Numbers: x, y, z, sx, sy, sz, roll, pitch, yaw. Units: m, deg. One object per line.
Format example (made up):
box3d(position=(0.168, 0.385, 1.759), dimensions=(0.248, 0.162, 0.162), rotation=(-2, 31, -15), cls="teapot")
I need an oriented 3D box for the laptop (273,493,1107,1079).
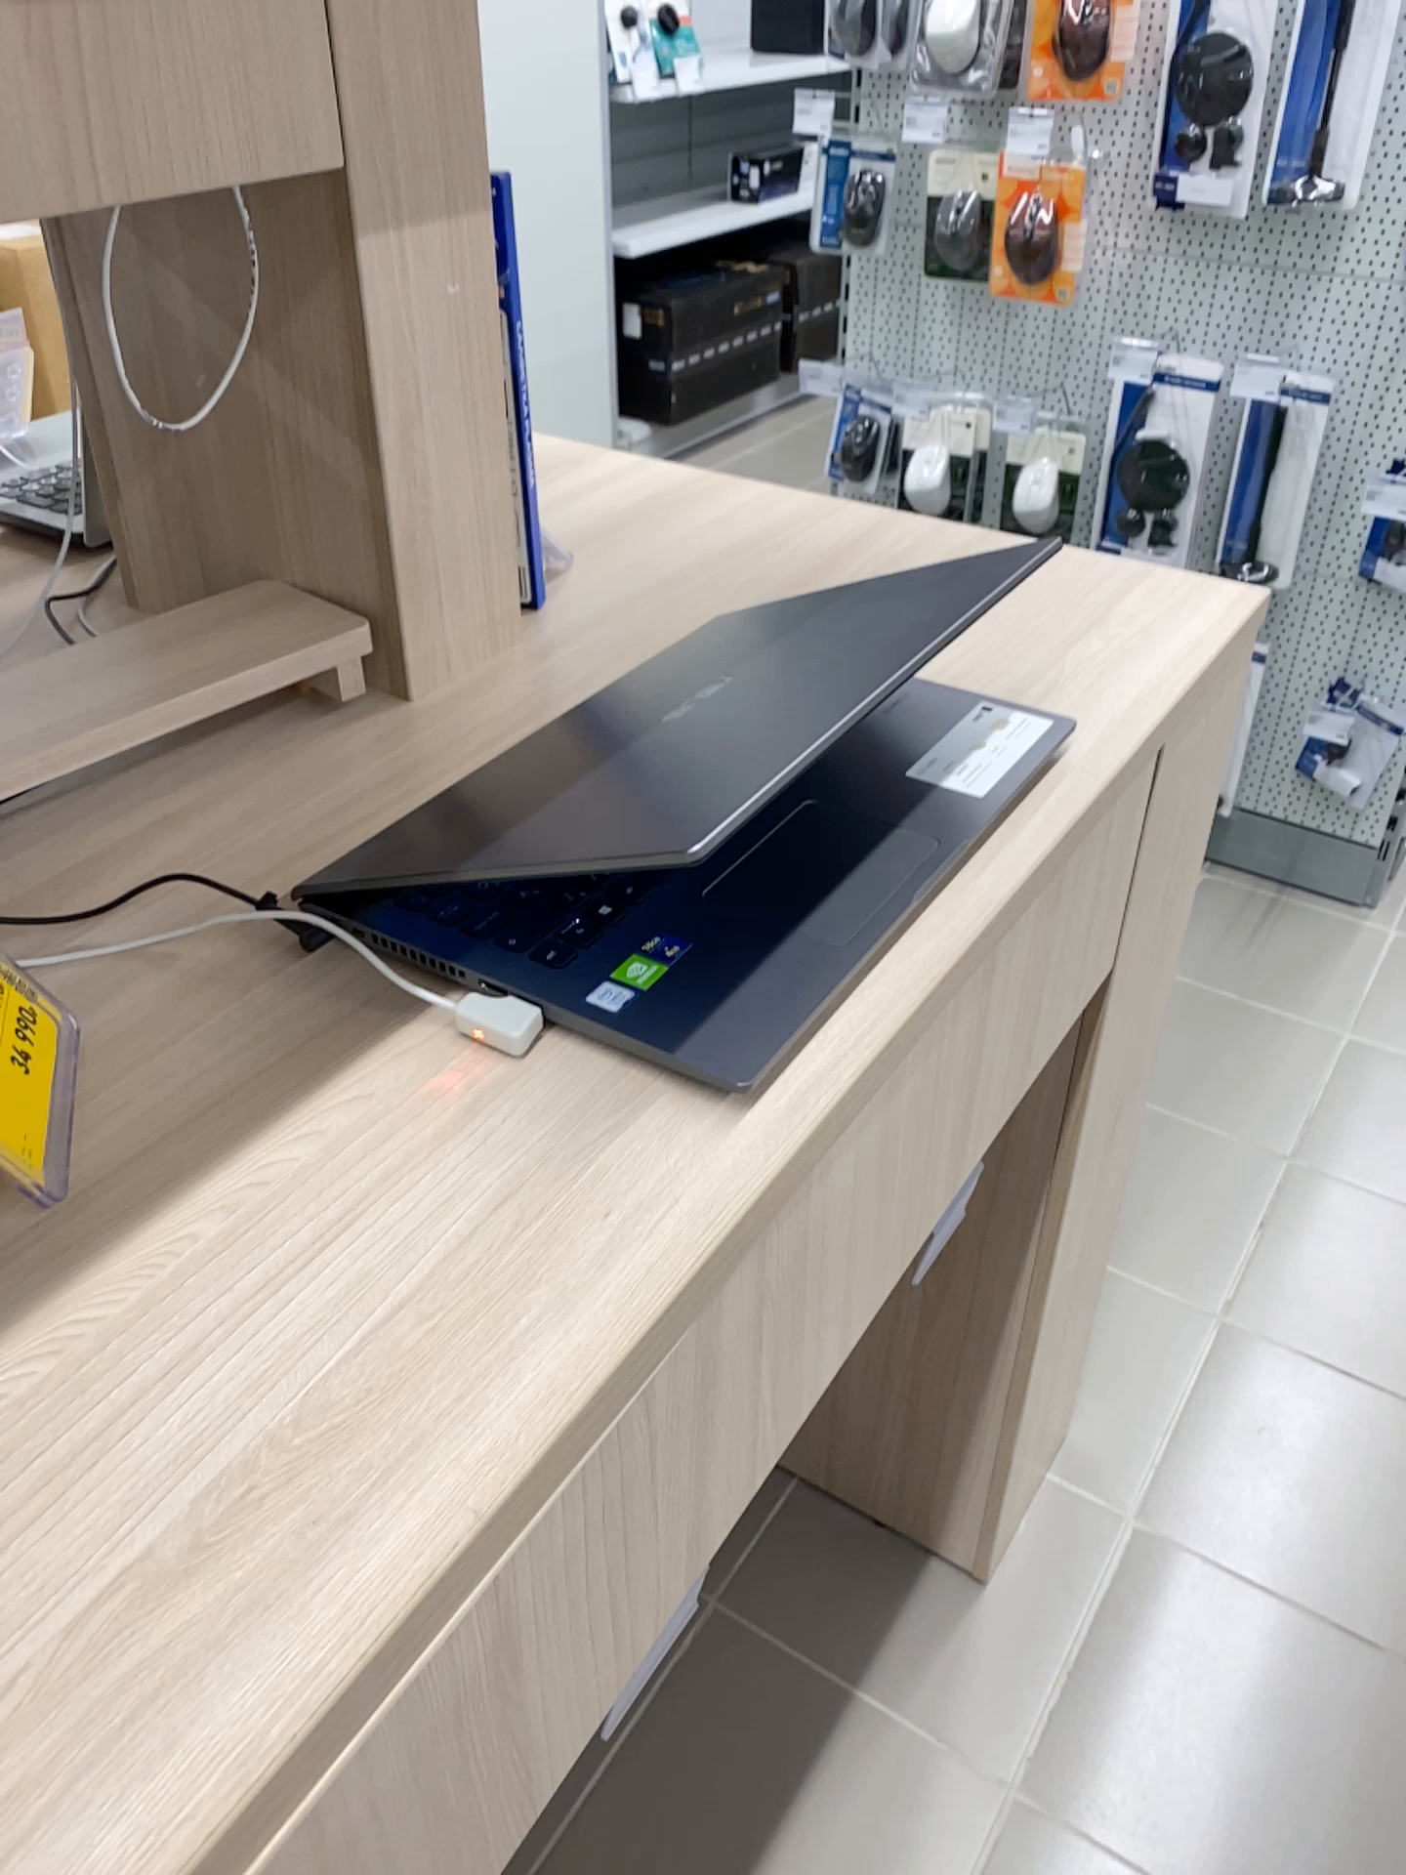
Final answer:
box3d(position=(0.016, -0.104, 0.688), dimensions=(0.236, 0.088, 0.354), rotation=(20, 38, 25), cls="laptop")
